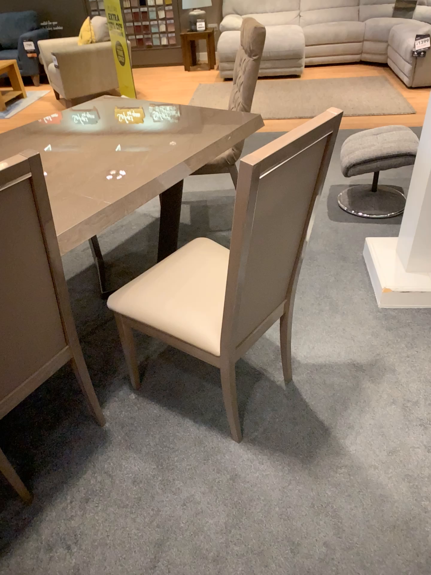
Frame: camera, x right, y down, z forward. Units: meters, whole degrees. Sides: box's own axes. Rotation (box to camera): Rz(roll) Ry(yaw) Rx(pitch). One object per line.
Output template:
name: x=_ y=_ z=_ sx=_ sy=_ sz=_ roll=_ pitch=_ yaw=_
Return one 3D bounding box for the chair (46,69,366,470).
chair: x=-0.006 y=-0.053 z=1.347 sx=0.584 sy=0.976 sz=0.501 roll=25 pitch=46 yaw=30
